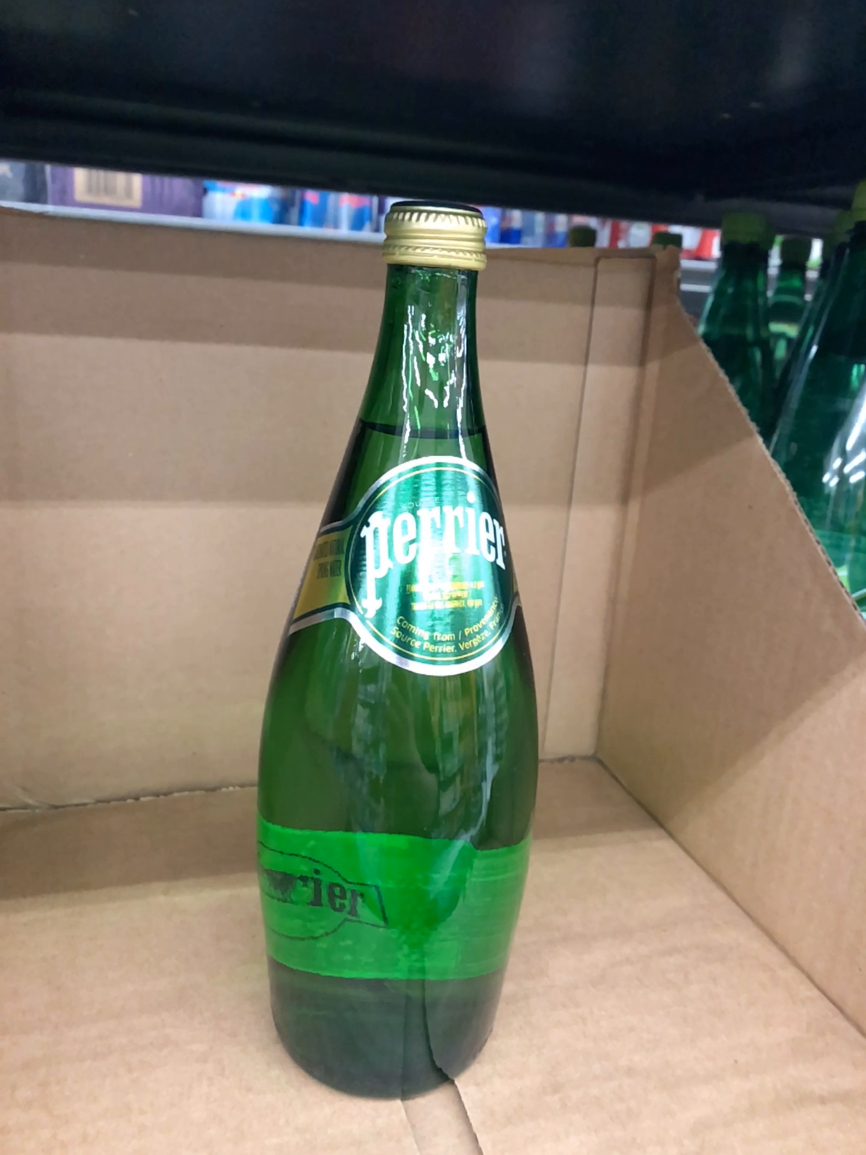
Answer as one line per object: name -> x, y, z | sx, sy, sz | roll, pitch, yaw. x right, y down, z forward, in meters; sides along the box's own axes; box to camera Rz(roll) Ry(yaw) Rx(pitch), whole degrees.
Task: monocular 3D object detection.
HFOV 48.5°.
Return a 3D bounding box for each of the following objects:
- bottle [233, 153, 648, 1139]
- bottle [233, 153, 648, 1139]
bottle -> -0.010, 0.023, 0.297 | 0.090, 0.269, 0.080 | -1, 17, -17
bottle -> -0.010, 0.023, 0.297 | 0.090, 0.269, 0.080 | -1, 17, -17
